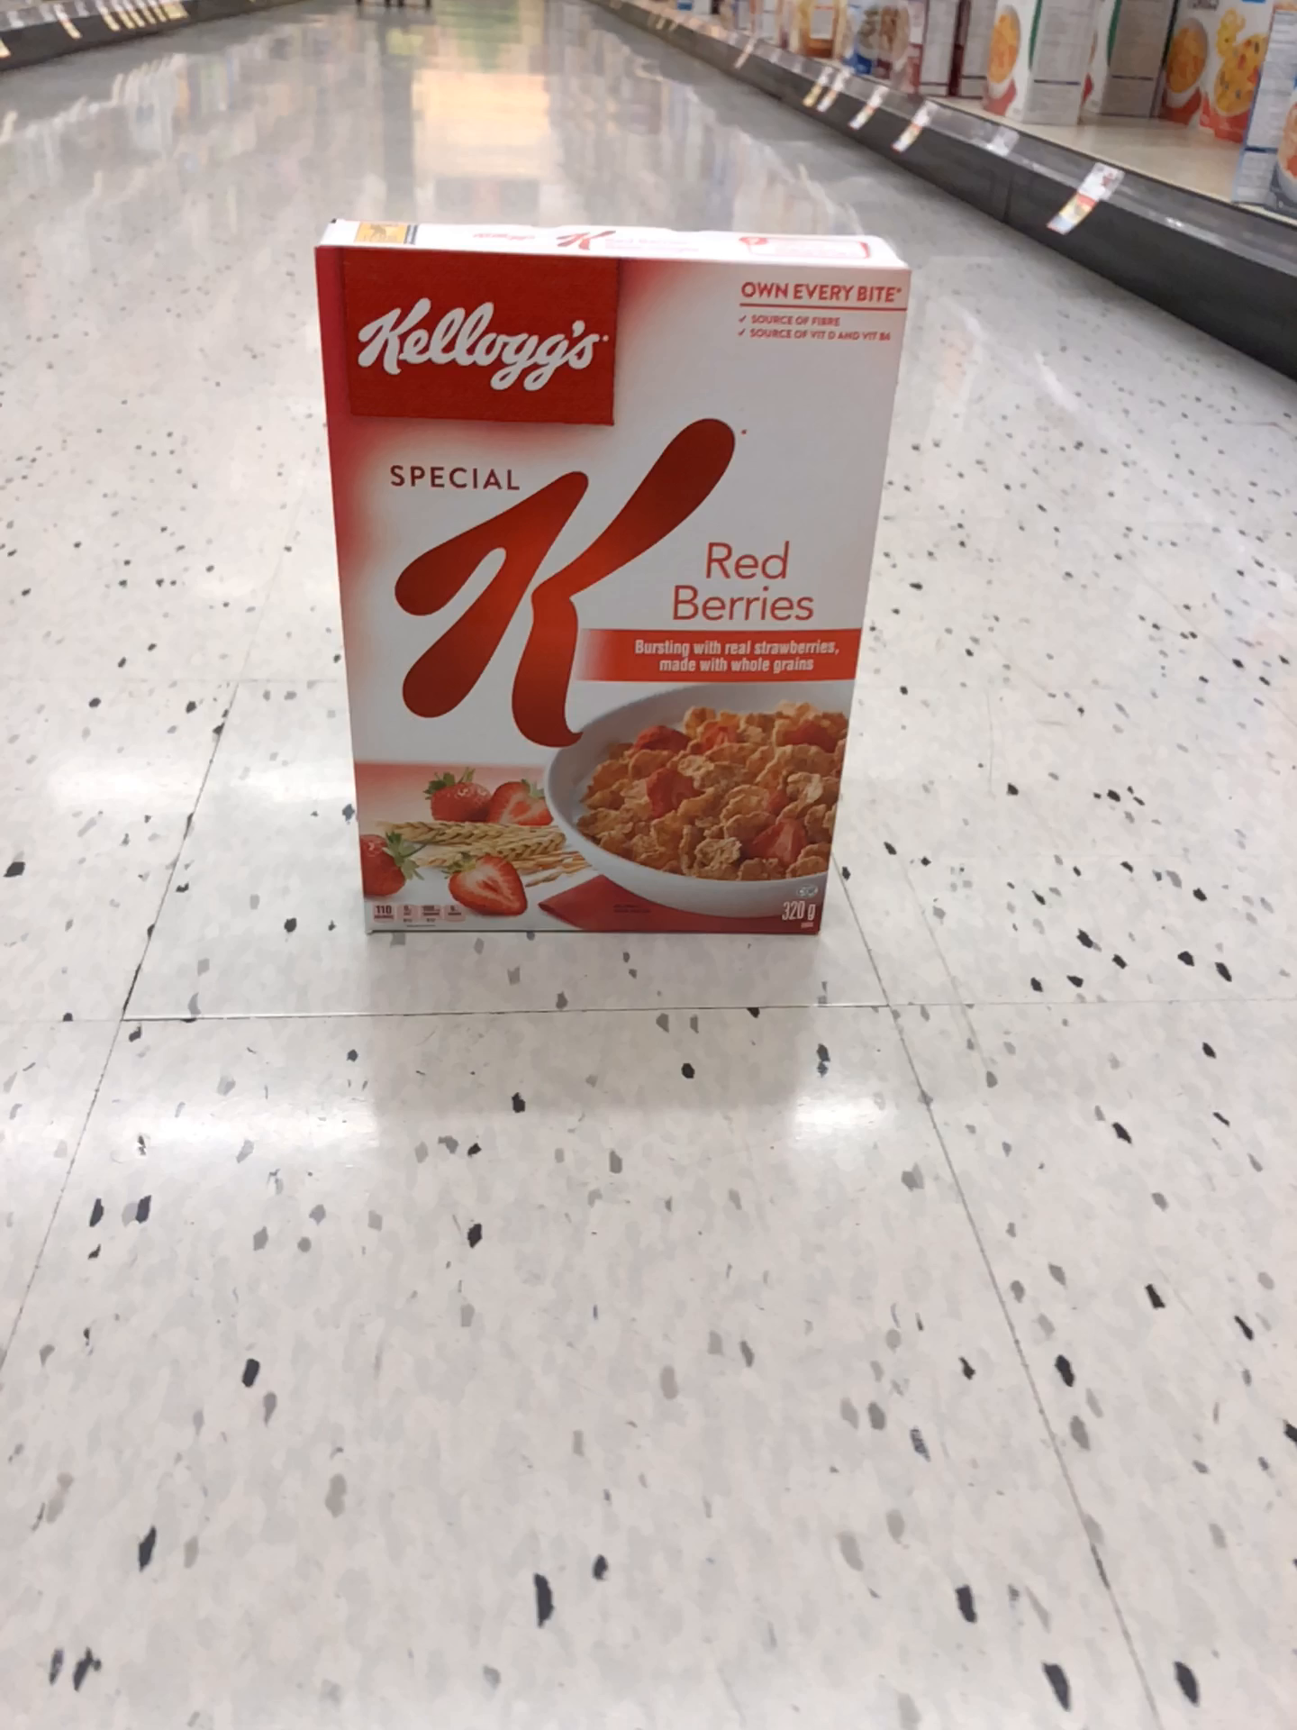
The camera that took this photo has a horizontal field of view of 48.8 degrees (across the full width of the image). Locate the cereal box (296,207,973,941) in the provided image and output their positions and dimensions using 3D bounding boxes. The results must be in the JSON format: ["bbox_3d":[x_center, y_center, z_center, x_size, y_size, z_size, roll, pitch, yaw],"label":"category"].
[{"bbox_3d":[-0.011,-0.096,0.535,0.210,0.258,0.060,1,32,-5],"label":"cereal box"}]
